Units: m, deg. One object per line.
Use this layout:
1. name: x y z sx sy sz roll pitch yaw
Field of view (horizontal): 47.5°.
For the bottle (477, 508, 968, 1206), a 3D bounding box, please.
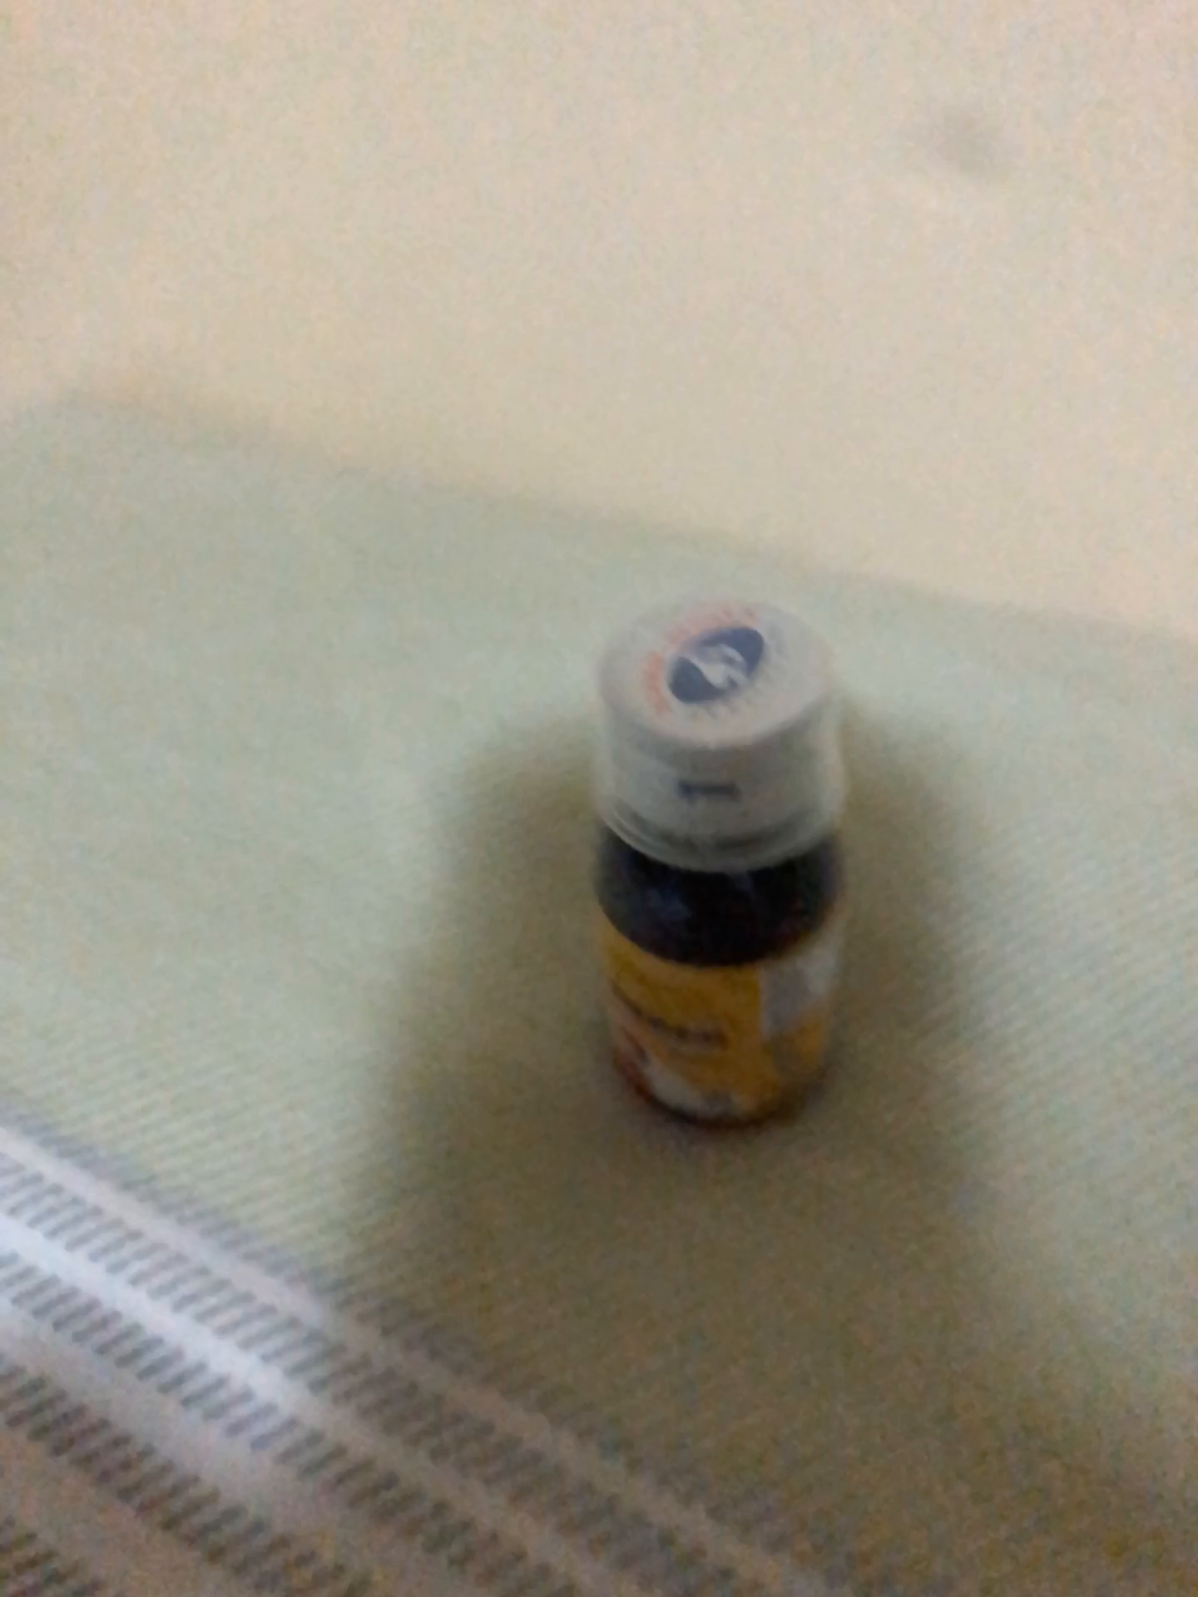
1. bottle: 0.017 0.010 0.185 0.040 0.080 0.040 -3 47 3
